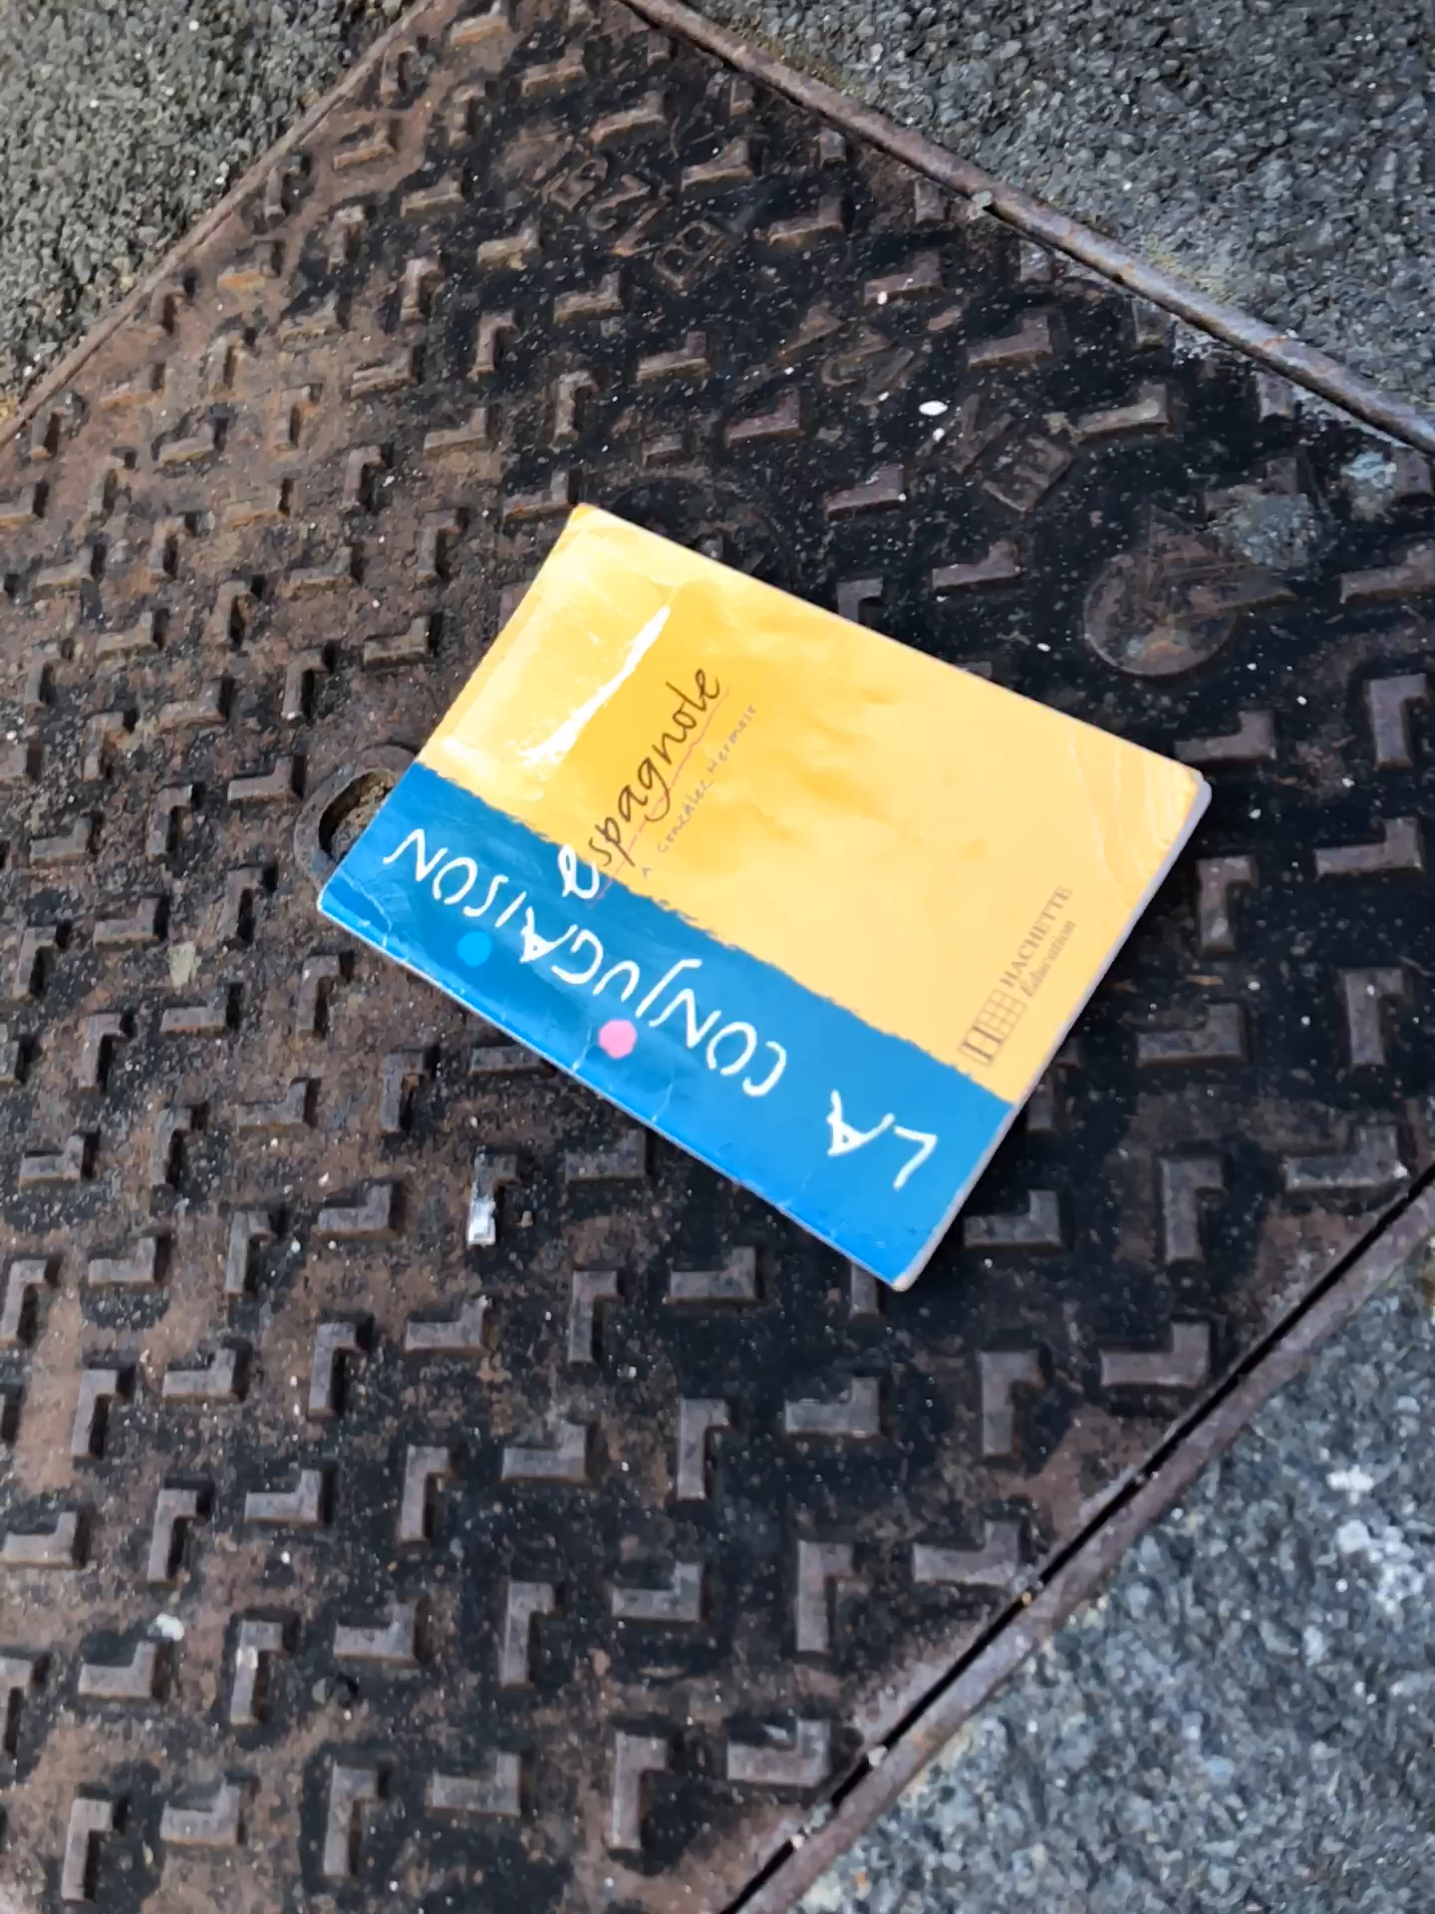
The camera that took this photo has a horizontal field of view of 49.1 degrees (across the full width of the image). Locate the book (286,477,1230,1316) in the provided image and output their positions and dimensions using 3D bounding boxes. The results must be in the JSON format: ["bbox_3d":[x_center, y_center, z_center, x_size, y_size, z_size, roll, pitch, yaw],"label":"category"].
[{"bbox_3d":[0.002,-0.026,0.381,0.187,0.017,0.140,30,82,26],"label":"book"}]
